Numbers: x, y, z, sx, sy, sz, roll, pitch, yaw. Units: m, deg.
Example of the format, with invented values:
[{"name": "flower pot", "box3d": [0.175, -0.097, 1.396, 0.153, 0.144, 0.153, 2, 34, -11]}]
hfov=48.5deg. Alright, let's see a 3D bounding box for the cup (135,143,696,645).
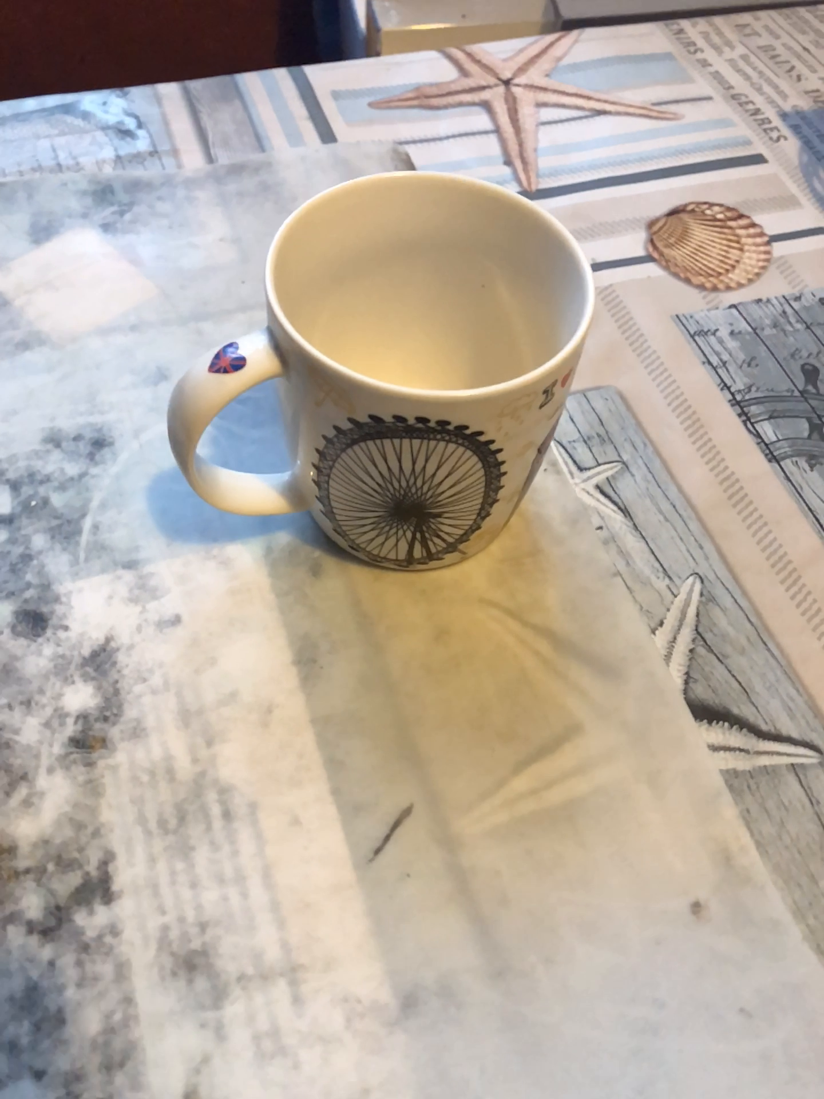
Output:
[{"name": "cup", "box3d": [-0.003, -0.047, 0.269, 0.121, 0.086, 0.084, -17, 56, -16]}]
